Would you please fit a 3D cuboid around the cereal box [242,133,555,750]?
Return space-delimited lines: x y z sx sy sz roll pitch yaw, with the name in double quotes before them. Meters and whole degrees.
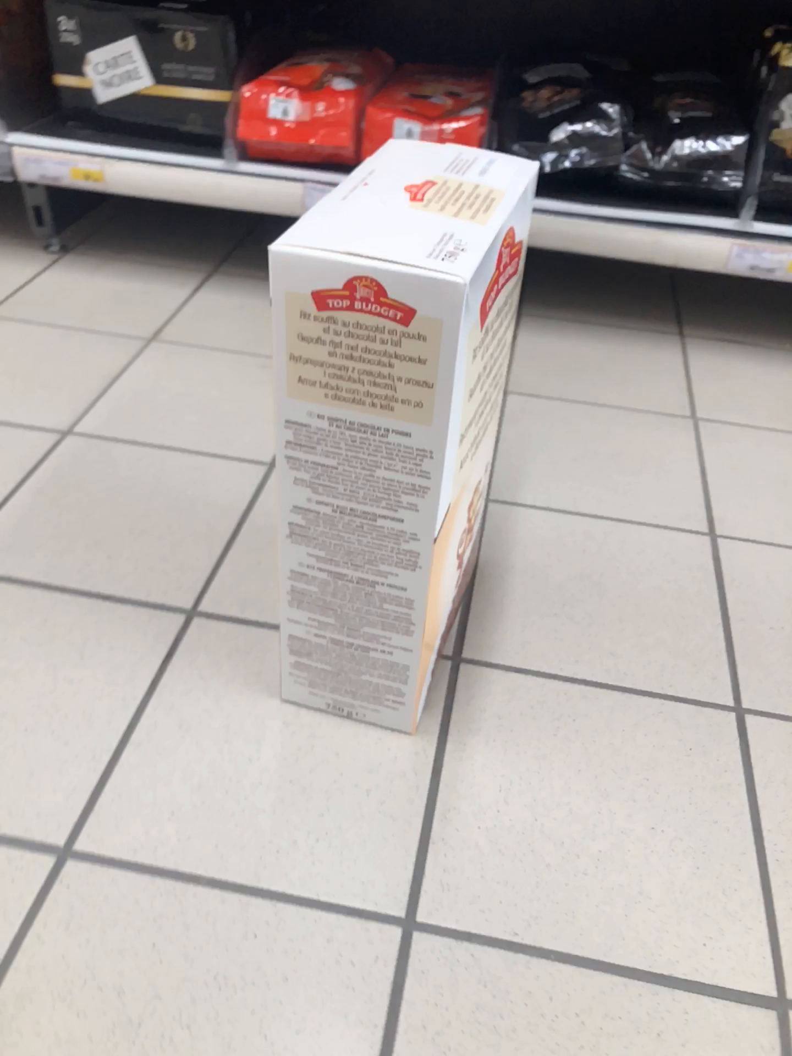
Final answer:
"cereal box" 0.004 -0.054 0.564 0.110 0.318 0.211 13 39 11
